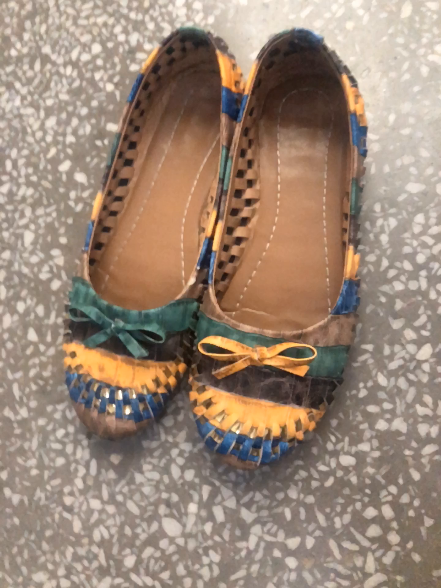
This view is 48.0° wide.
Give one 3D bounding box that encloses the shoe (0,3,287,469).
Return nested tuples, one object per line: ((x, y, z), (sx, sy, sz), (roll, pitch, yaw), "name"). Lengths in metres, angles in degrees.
((-0.037, -0.035, 0.293), (0.090, 0.074, 0.237), (14, 84, 14), "shoe")

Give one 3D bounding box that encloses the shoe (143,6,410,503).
((0.036, -0.026, 0.276), (0.090, 0.074, 0.237), (9, 83, 14), "shoe")
